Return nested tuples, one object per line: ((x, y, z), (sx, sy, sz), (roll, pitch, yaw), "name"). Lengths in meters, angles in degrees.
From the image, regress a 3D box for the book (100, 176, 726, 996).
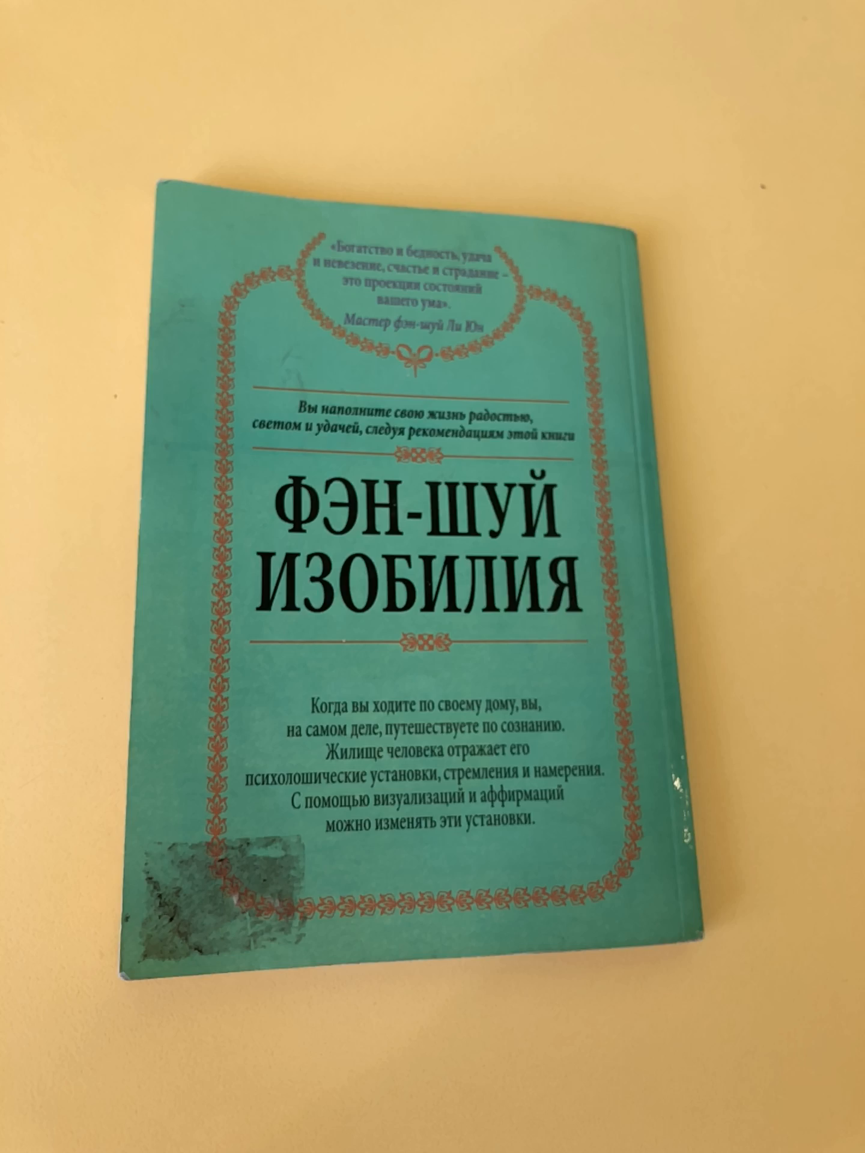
((-0.005, -0.004, 0.211), (0.118, 0.020, 0.166), (1, 74, -12), "book")
